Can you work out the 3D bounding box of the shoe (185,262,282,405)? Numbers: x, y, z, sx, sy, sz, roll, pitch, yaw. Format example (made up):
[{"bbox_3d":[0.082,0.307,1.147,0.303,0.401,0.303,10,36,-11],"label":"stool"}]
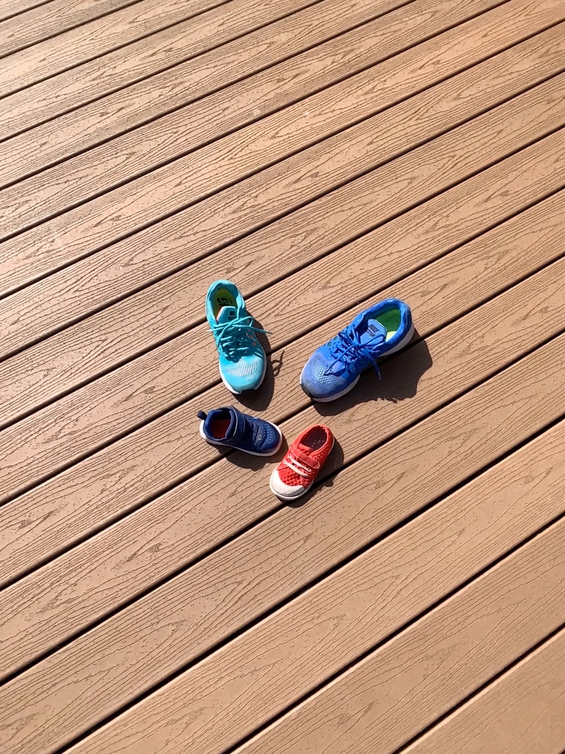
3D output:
[{"bbox_3d":[-0.104,-0.094,1.216,0.120,0.090,0.270,-19,67,-7],"label":"shoe"}]

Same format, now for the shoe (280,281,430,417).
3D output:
[{"bbox_3d":[0.148,-0.060,1.199,0.290,0.090,0.120,-34,70,-13],"label":"shoe"}]

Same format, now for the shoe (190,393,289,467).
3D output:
[{"bbox_3d":[-0.081,0.104,1.129,0.170,0.070,0.090,13,67,6],"label":"shoe"}]

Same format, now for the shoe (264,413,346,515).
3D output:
[{"bbox_3d":[0.044,0.167,1.114,0.080,0.060,0.170,29,70,13],"label":"shoe"}]
